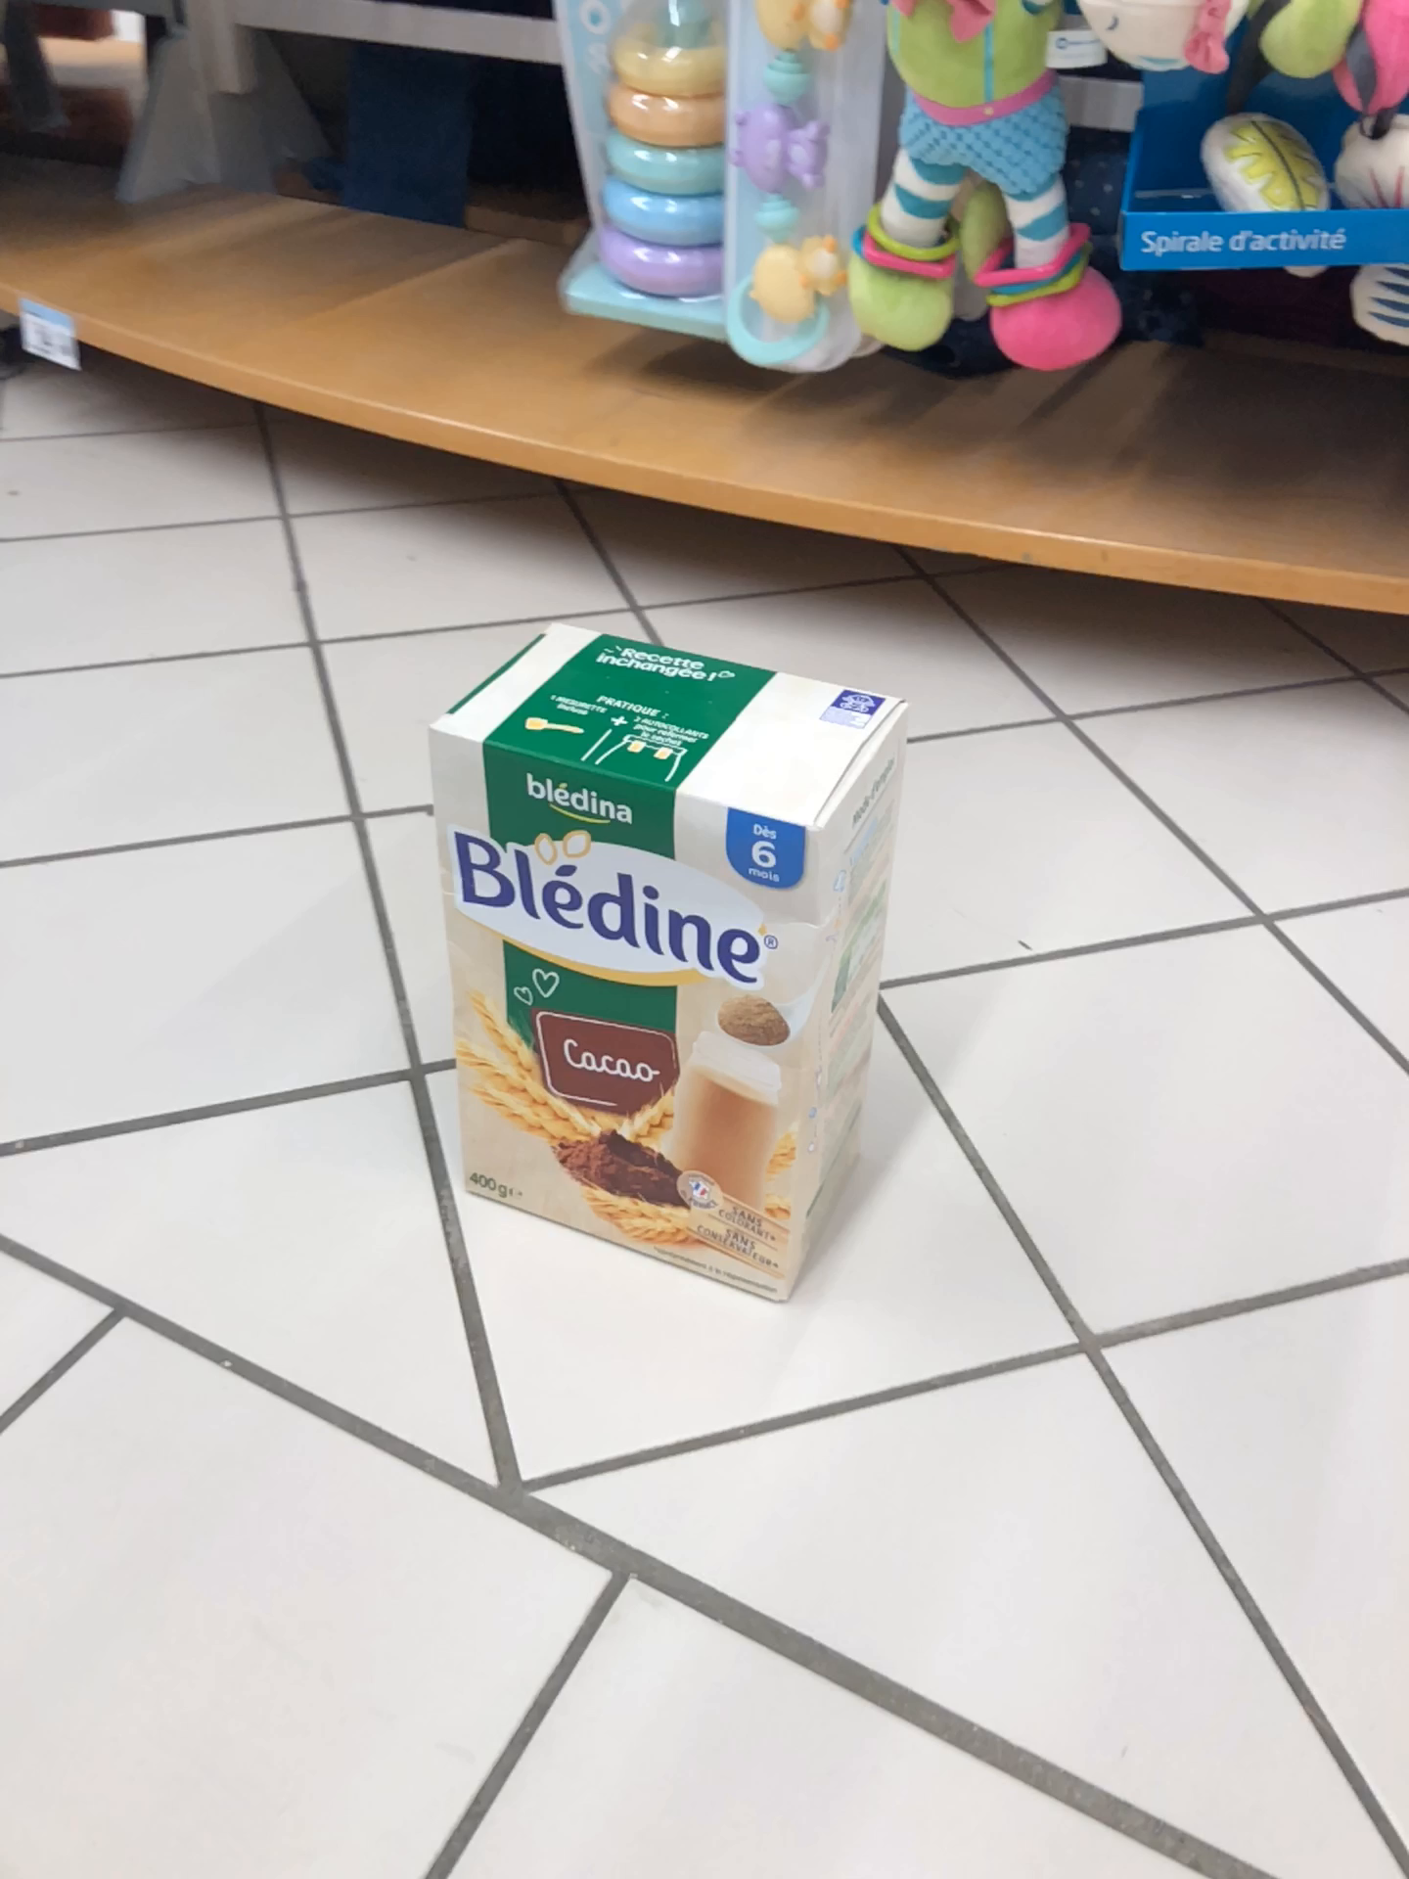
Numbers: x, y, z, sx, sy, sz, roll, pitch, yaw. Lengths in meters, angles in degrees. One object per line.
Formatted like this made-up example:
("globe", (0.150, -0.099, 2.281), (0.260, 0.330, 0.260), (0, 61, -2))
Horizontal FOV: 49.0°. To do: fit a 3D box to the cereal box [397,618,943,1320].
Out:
("cereal box", (-0.011, 0.010, 0.523), (0.140, 0.189, 0.091), (16, 39, 18))
